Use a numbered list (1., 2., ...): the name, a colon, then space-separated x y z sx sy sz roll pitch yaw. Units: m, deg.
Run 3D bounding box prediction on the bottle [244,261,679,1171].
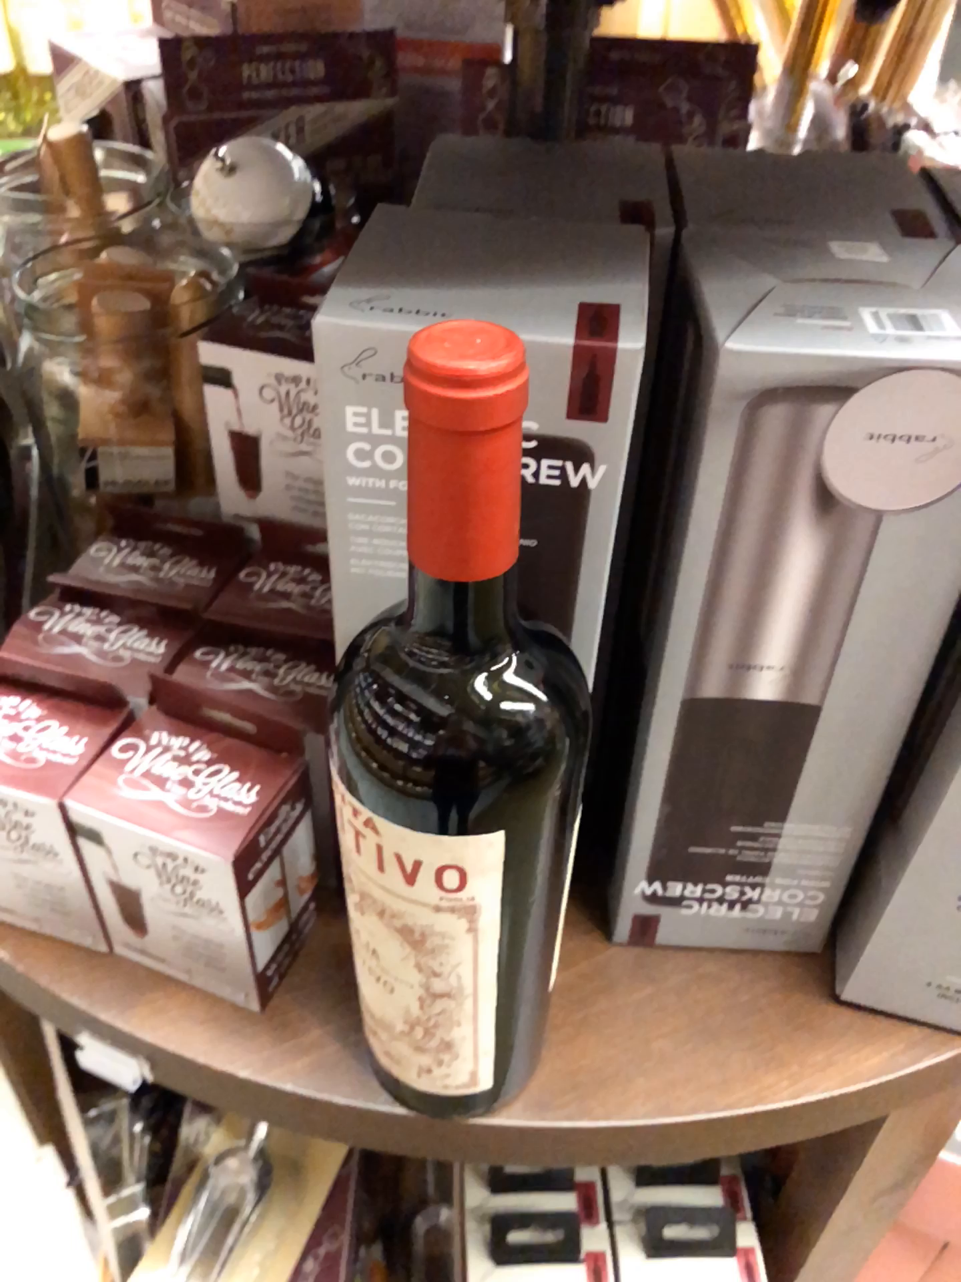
1. bottle: -0.007 0.048 0.334 0.071 0.299 0.072 0 40 0
